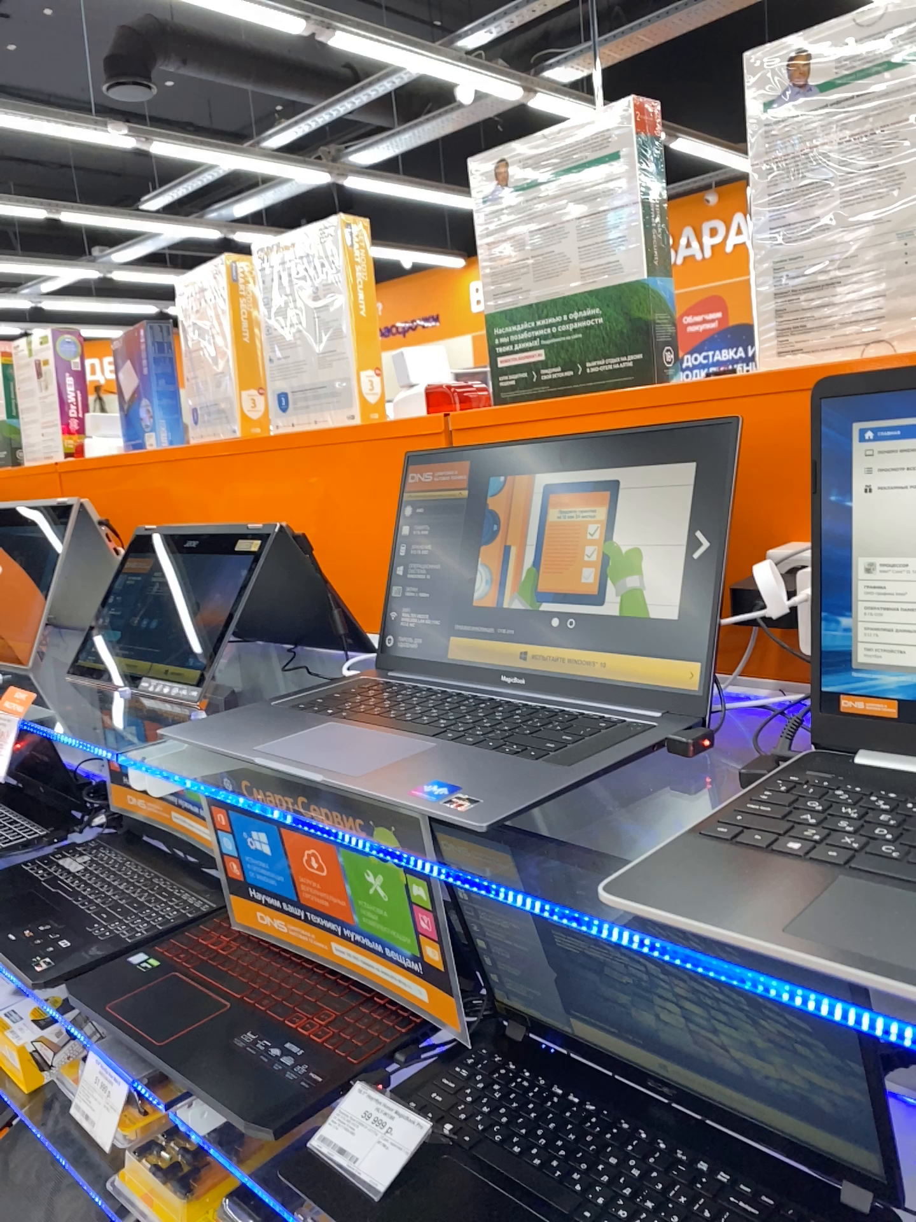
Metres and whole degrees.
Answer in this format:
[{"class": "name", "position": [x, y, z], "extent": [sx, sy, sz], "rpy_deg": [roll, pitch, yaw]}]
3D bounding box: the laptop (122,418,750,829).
[{"class": "laptop", "position": [-0.020, -0.021, 0.739], "extent": [0.368, 0.207, 0.314], "rpy_deg": [4, 13, 45]}]
